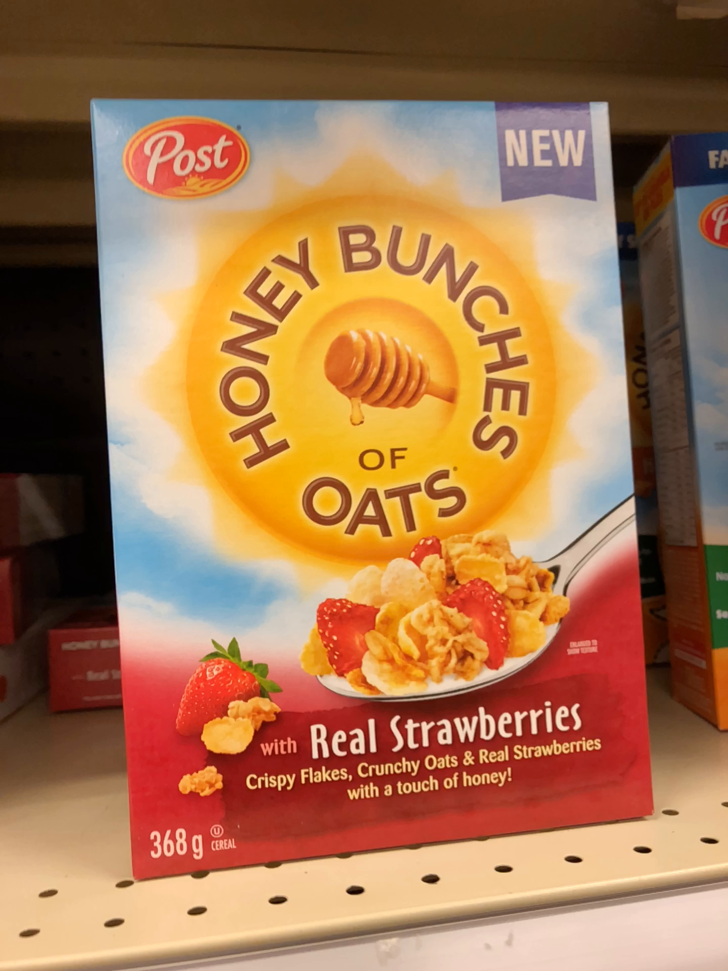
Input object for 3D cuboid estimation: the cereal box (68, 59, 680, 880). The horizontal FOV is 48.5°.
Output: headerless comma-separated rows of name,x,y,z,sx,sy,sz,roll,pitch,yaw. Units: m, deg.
cereal box,0.005,-0.011,0.304,0.200,0.270,0.050,-3,-1,-8
